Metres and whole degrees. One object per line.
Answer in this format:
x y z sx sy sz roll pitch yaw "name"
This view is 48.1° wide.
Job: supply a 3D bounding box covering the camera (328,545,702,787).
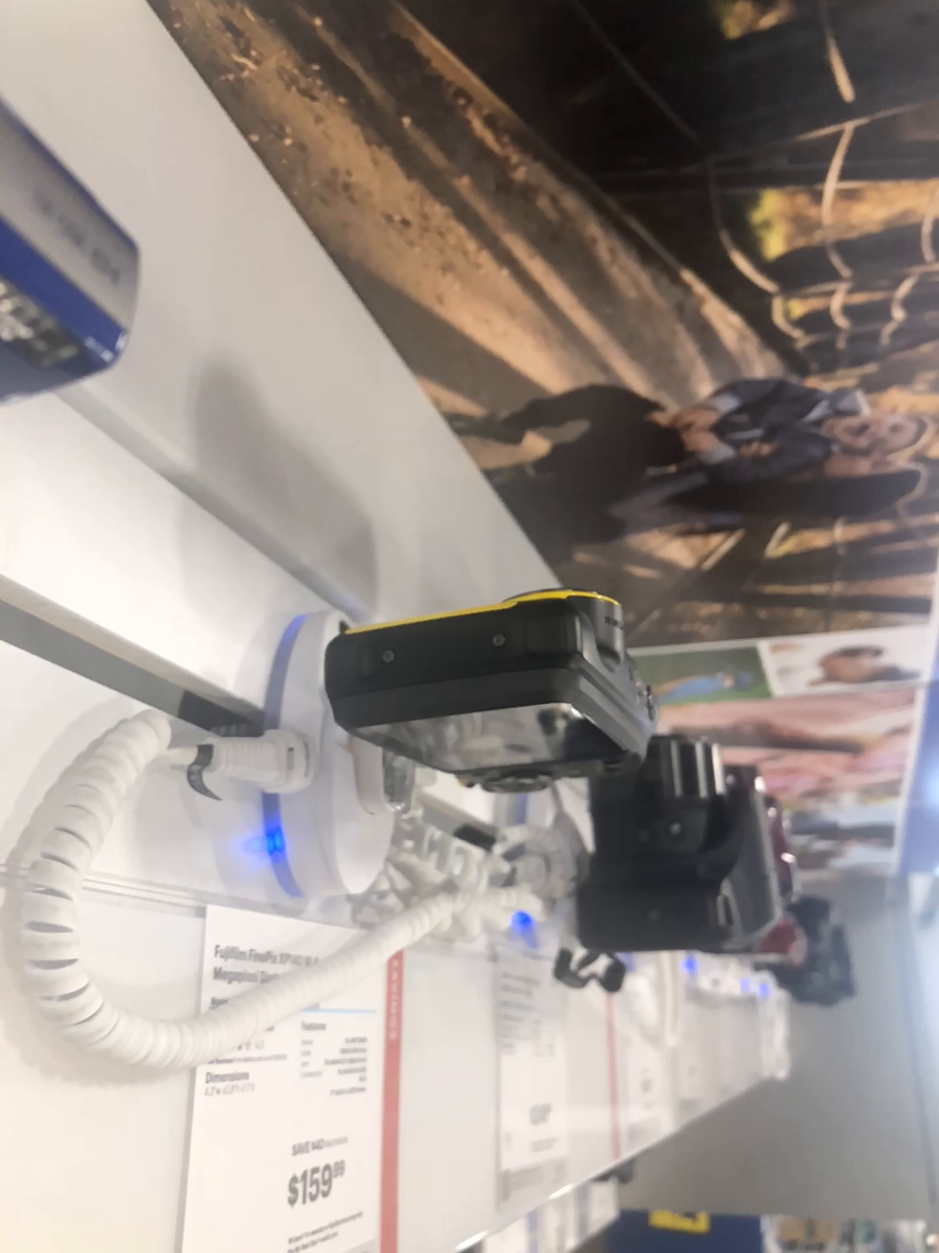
0.019 0.017 0.285 0.111 0.070 0.030 41 44 -64 "camera"
